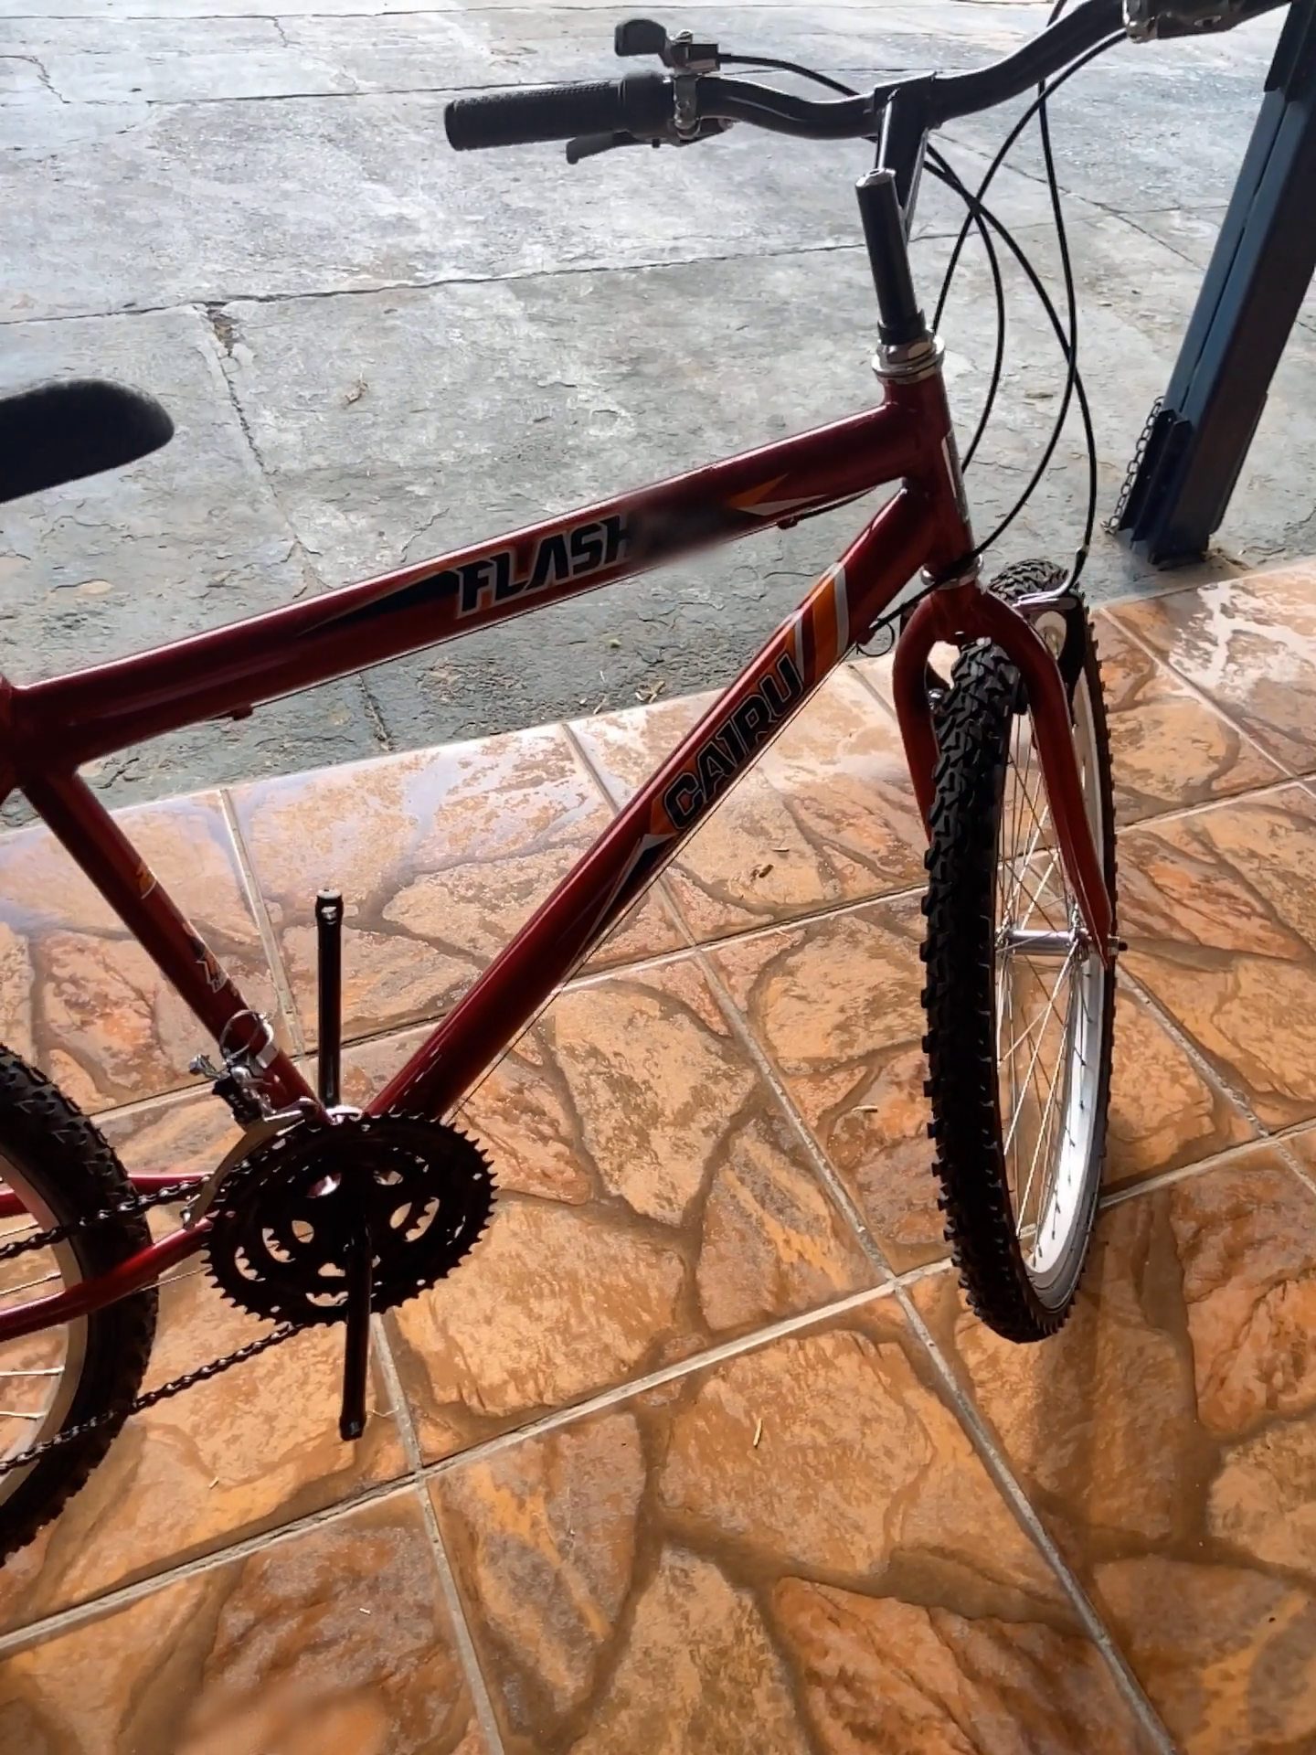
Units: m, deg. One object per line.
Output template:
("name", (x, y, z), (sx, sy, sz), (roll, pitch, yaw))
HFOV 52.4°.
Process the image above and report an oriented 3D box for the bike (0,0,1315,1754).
("bike", (-0.265, -0.049, 0.950), (1.560, 0.985, 0.601), (-18, 49, -24))
